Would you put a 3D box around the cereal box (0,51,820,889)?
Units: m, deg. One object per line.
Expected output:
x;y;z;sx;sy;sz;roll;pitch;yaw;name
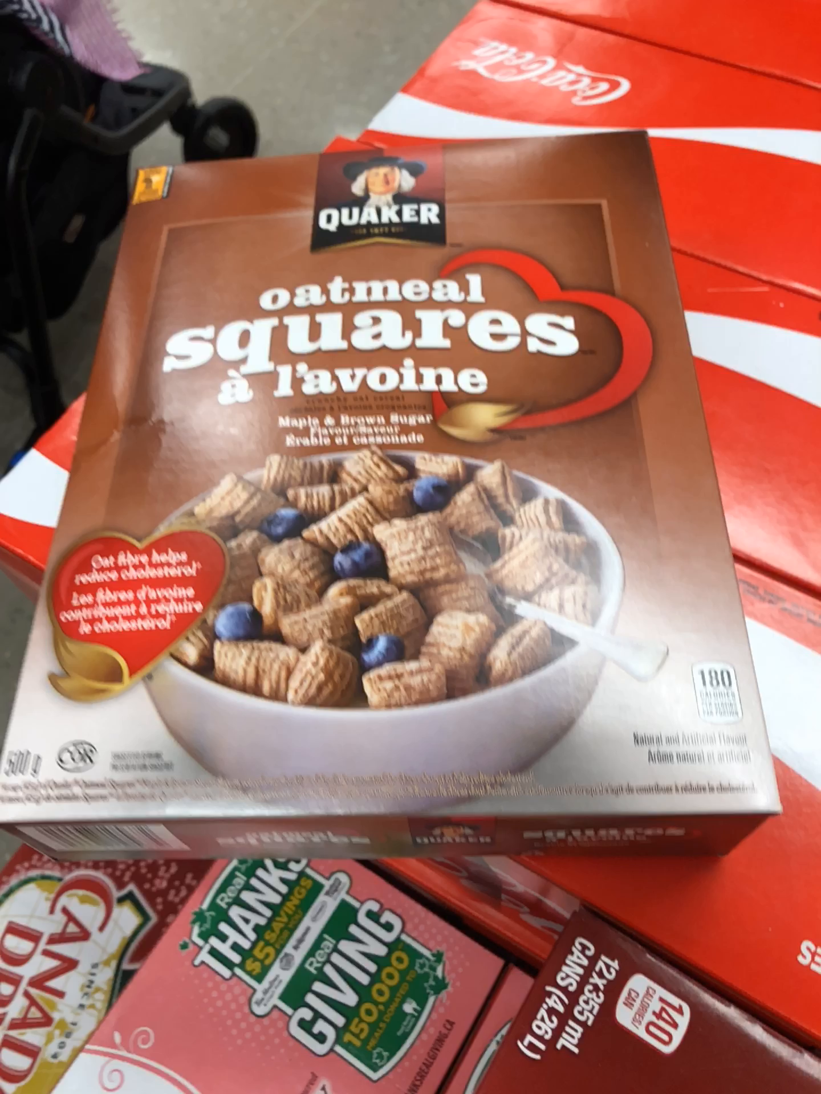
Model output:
-0.010;-0.045;0.305;0.240;0.050;0.291;-2;60;4;cereal box
